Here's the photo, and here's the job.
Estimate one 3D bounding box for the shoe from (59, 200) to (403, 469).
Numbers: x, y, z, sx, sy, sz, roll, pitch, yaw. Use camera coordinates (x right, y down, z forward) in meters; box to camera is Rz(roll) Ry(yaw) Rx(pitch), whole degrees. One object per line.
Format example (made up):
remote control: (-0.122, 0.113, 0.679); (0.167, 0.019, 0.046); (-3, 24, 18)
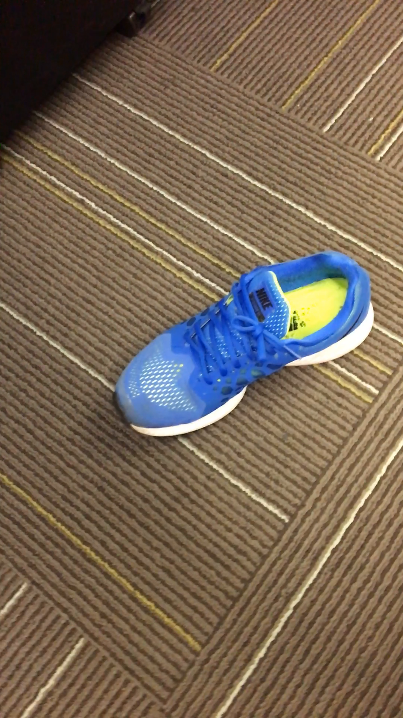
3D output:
shoe: (0.040, -0.016, 0.602); (0.310, 0.150, 0.110); (-23, 69, -5)
